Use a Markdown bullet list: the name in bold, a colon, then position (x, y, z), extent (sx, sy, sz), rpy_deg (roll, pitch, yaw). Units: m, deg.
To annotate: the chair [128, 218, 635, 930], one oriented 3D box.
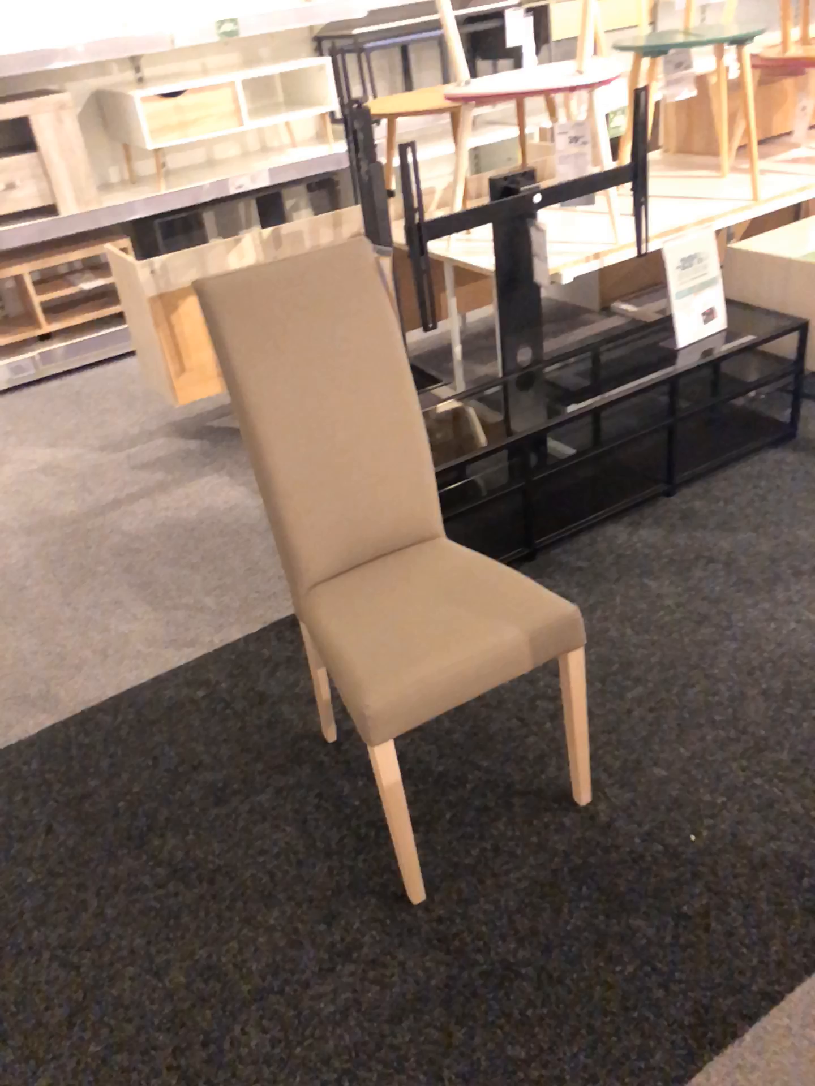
- **chair**: position (-0.022, 0.017, 1.561), extent (0.531, 0.945, 0.632), rpy_deg (-22, 34, -20)
